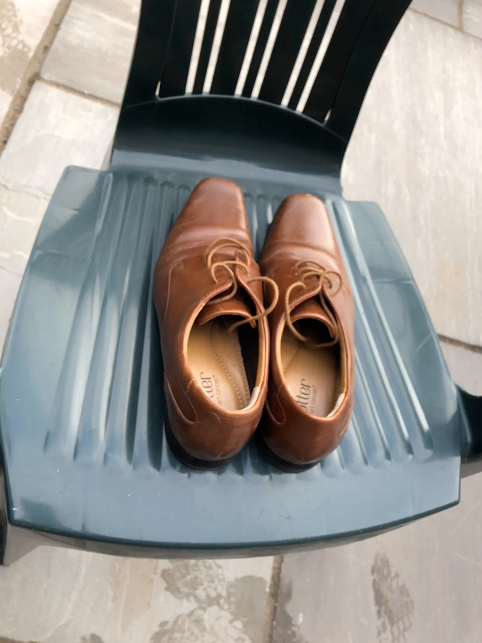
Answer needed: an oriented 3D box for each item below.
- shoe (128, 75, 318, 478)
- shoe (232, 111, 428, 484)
[{"bbox_3d":[-0.011,-0.034,0.431,0.110,0.110,0.291,9,67,-13],"label":"shoe"},{"bbox_3d":[0.075,-0.019,0.456,0.110,0.110,0.281,12,67,-12],"label":"shoe"}]
